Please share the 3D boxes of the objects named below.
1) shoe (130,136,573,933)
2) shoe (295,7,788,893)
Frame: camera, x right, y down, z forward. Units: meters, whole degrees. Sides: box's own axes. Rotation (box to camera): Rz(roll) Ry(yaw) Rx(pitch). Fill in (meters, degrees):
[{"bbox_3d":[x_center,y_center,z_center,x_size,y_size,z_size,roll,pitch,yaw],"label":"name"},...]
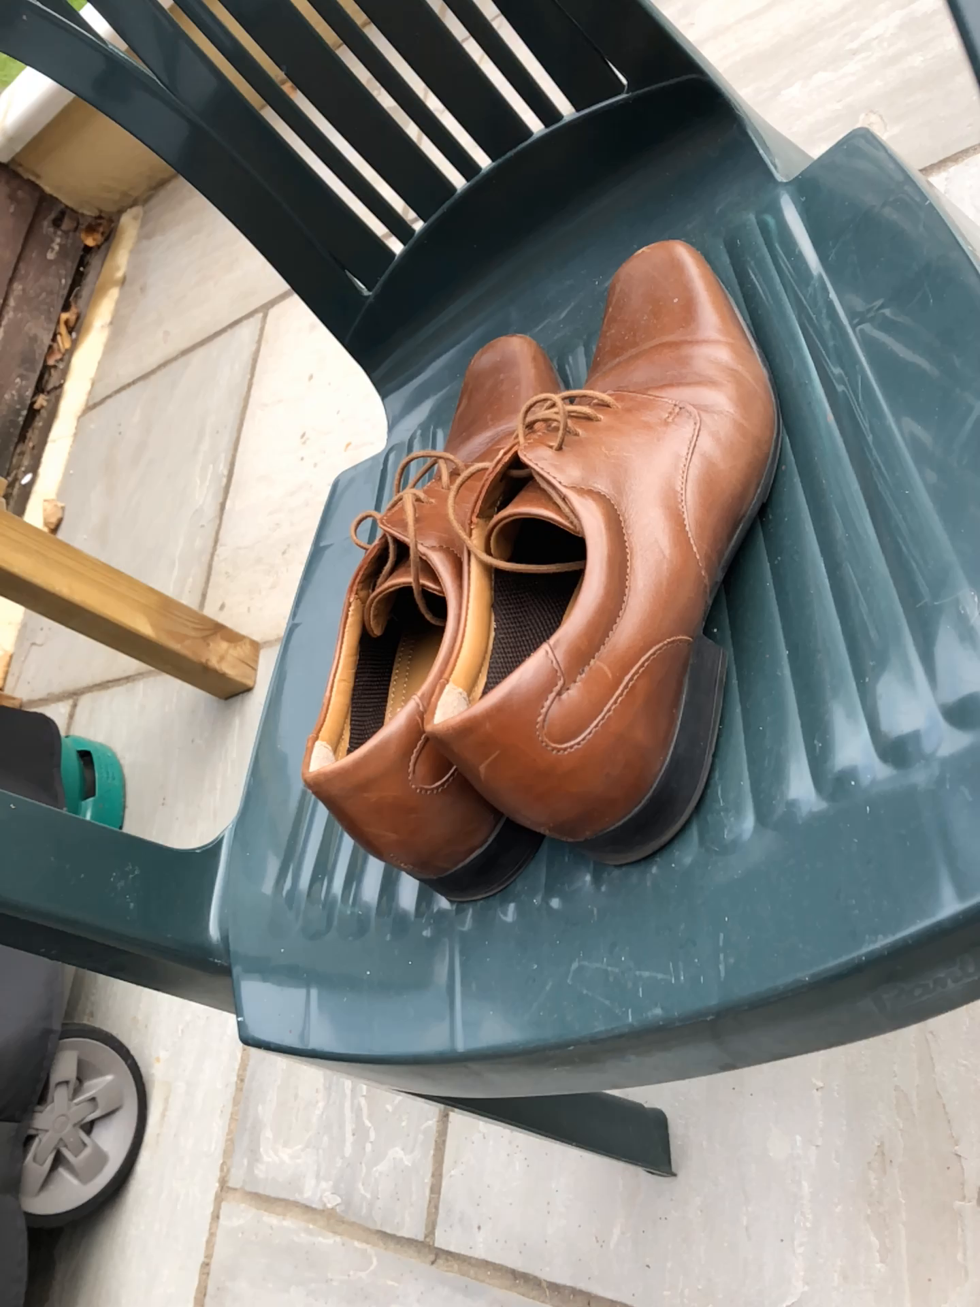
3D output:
[{"bbox_3d":[-0.044,-0.046,0.446,0.110,0.109,0.291,-19,58,38],"label":"shoe"},{"bbox_3d":[0.027,-0.067,0.394,0.110,0.109,0.281,-16,60,40],"label":"shoe"}]
